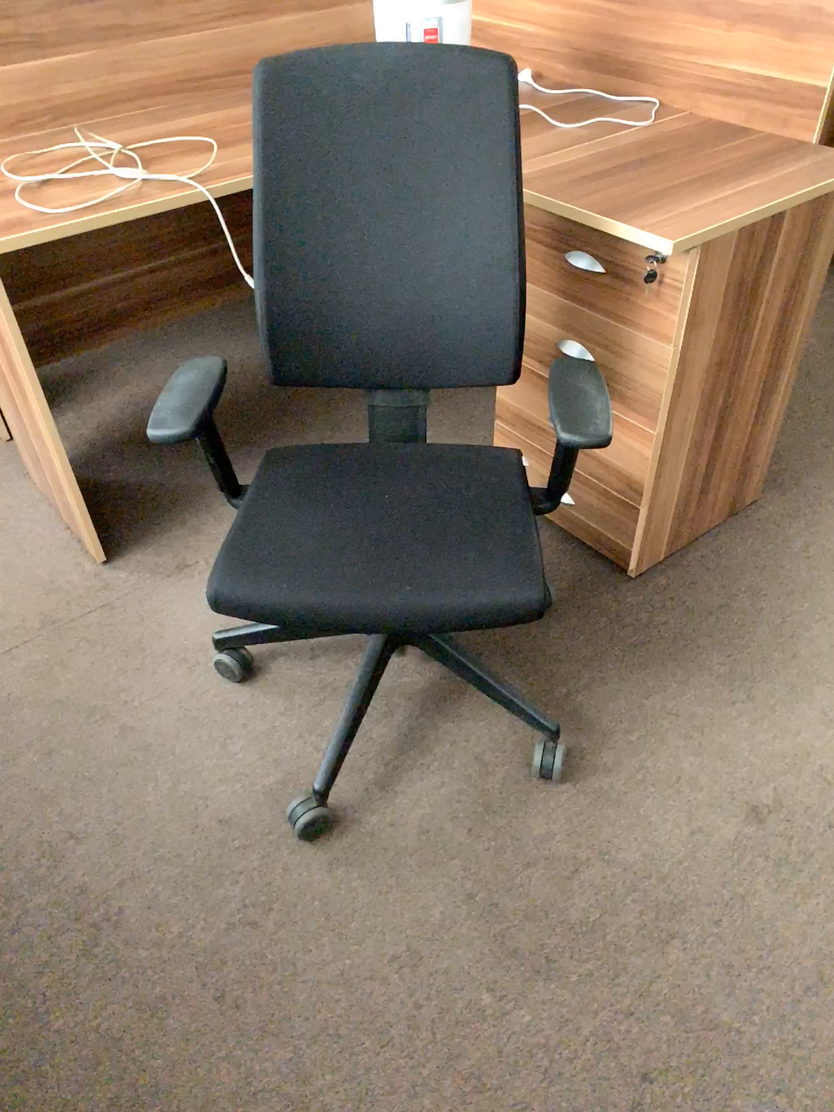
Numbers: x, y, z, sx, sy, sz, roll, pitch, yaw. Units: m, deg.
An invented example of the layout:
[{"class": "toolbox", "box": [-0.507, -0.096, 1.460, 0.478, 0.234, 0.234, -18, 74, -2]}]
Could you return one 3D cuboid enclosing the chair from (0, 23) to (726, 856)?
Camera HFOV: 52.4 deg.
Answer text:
[{"class": "chair", "box": [-0.071, -0.171, 1.253, 0.670, 0.915, 0.794, 0, 41, 3]}]
